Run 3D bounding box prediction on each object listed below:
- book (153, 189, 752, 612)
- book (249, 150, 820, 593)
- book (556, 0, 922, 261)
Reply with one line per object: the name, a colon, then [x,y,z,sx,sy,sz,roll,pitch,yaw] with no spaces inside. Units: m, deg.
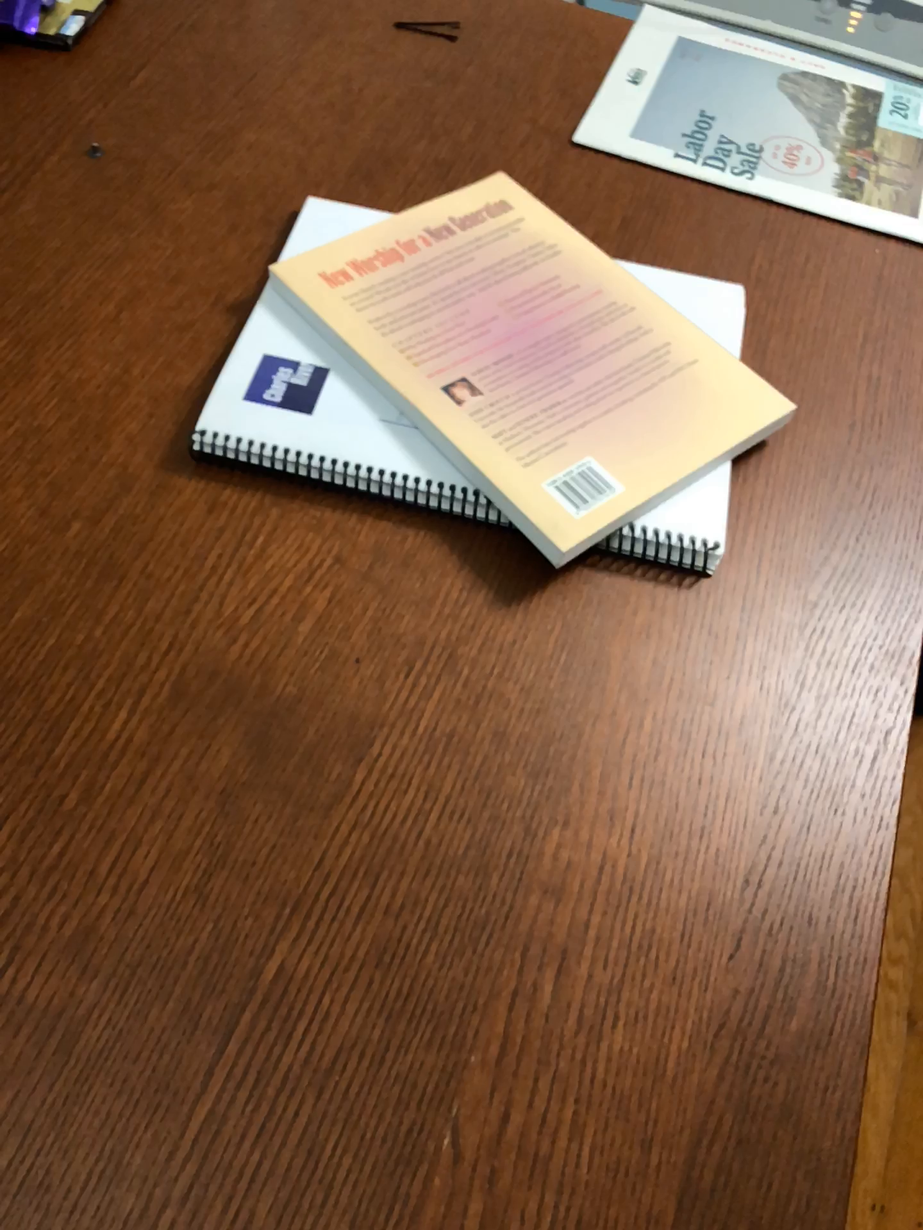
book: [0.011,-0.133,0.572,0.290,0.020,0.231,13,57,2]
book: [0.036,-0.152,0.567,0.190,0.020,0.260,-33,66,-24]
book: [0.225,-0.355,0.729,0.270,0.010,0.201,19,58,6]
